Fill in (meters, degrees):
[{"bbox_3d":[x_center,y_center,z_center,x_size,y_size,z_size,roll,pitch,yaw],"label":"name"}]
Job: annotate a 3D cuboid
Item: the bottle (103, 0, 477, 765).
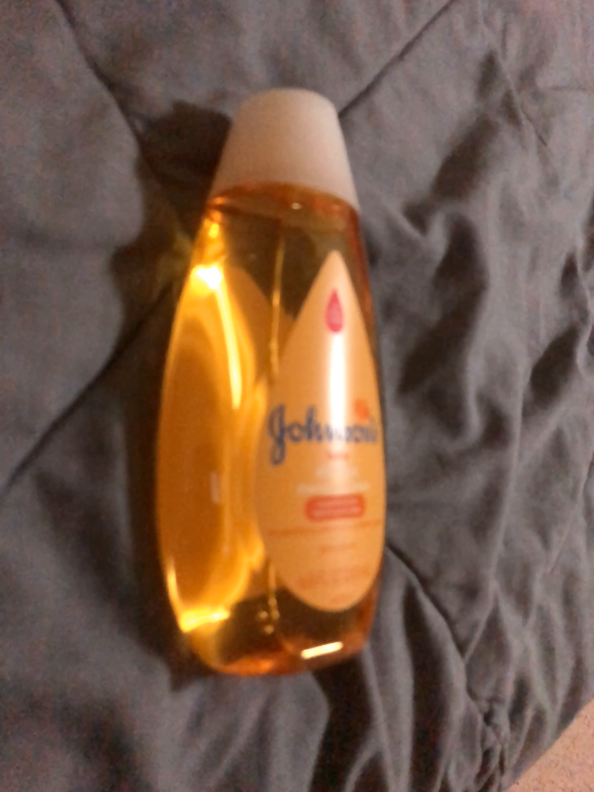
[{"bbox_3d":[0.002,-0.011,0.165,0.084,0.040,0.160,0,87,-44],"label":"bottle"}]
